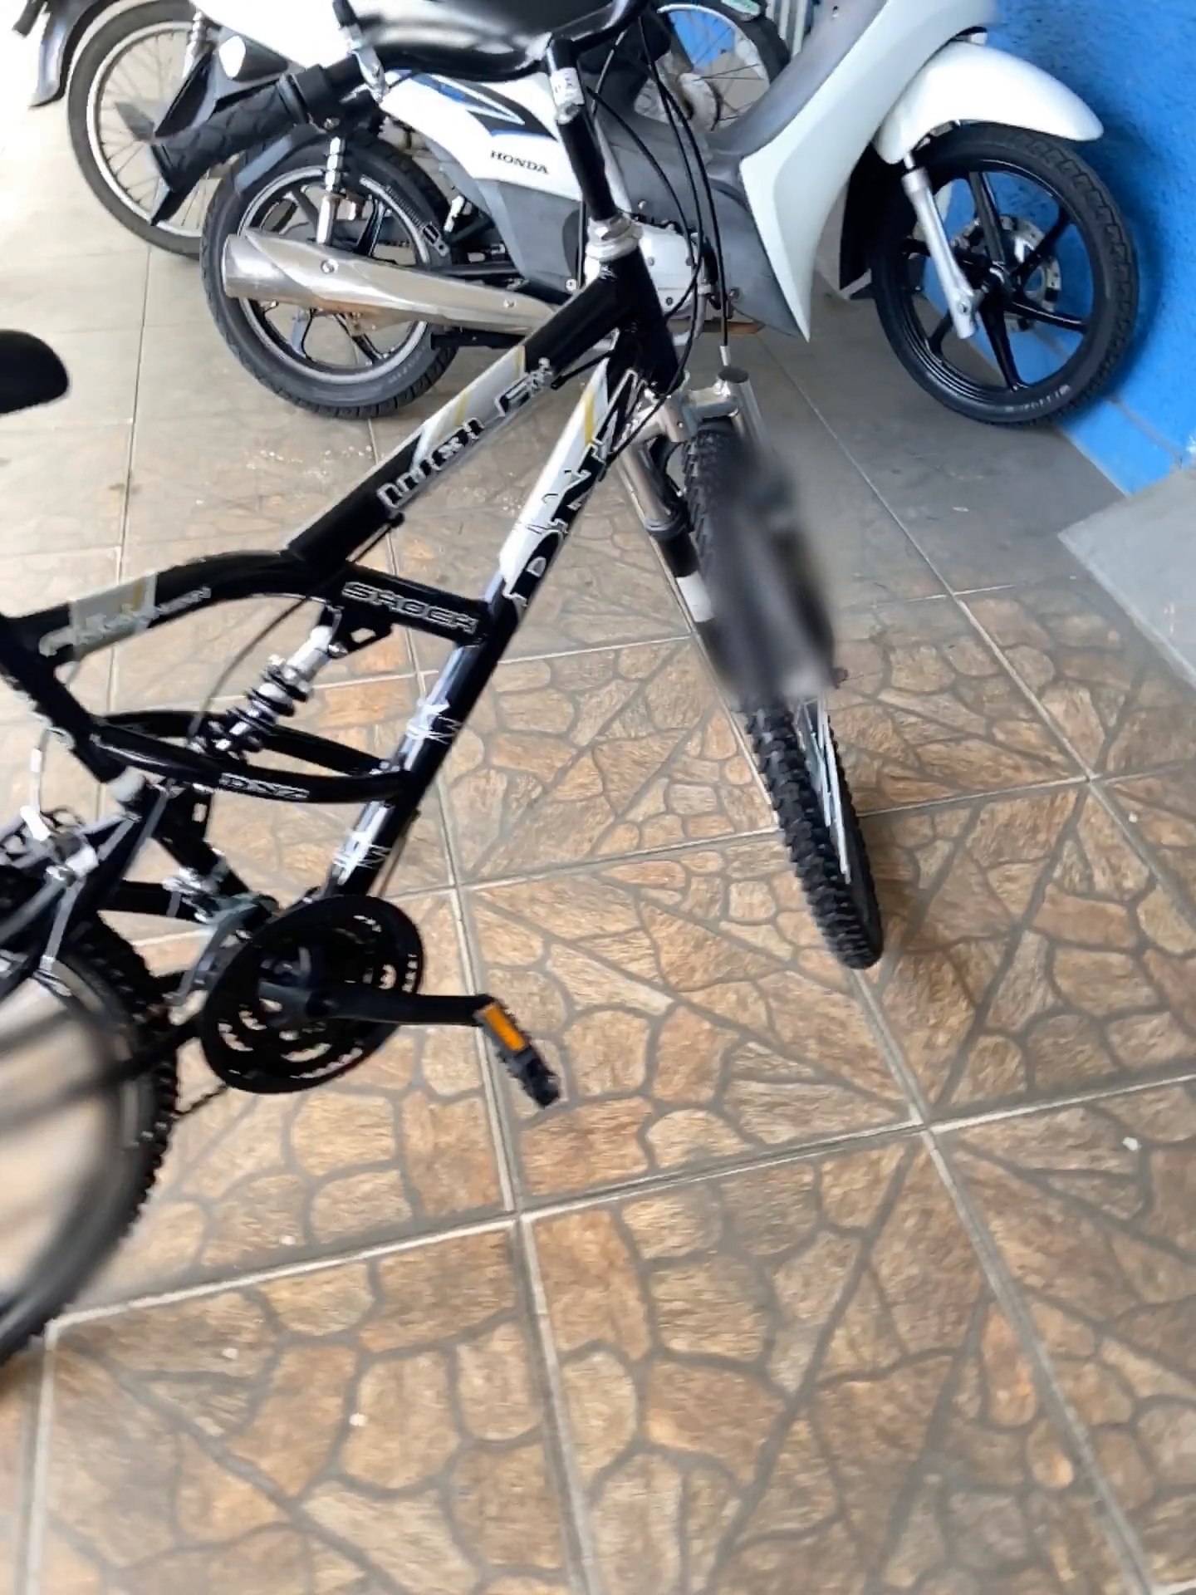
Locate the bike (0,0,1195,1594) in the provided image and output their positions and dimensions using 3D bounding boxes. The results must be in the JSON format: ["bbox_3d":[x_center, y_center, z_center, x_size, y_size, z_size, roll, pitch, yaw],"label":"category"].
[{"bbox_3d":[-0.336,-0.134,0.978,1.591,1.153,0.604,-35,55,-28],"label":"bike"}]
